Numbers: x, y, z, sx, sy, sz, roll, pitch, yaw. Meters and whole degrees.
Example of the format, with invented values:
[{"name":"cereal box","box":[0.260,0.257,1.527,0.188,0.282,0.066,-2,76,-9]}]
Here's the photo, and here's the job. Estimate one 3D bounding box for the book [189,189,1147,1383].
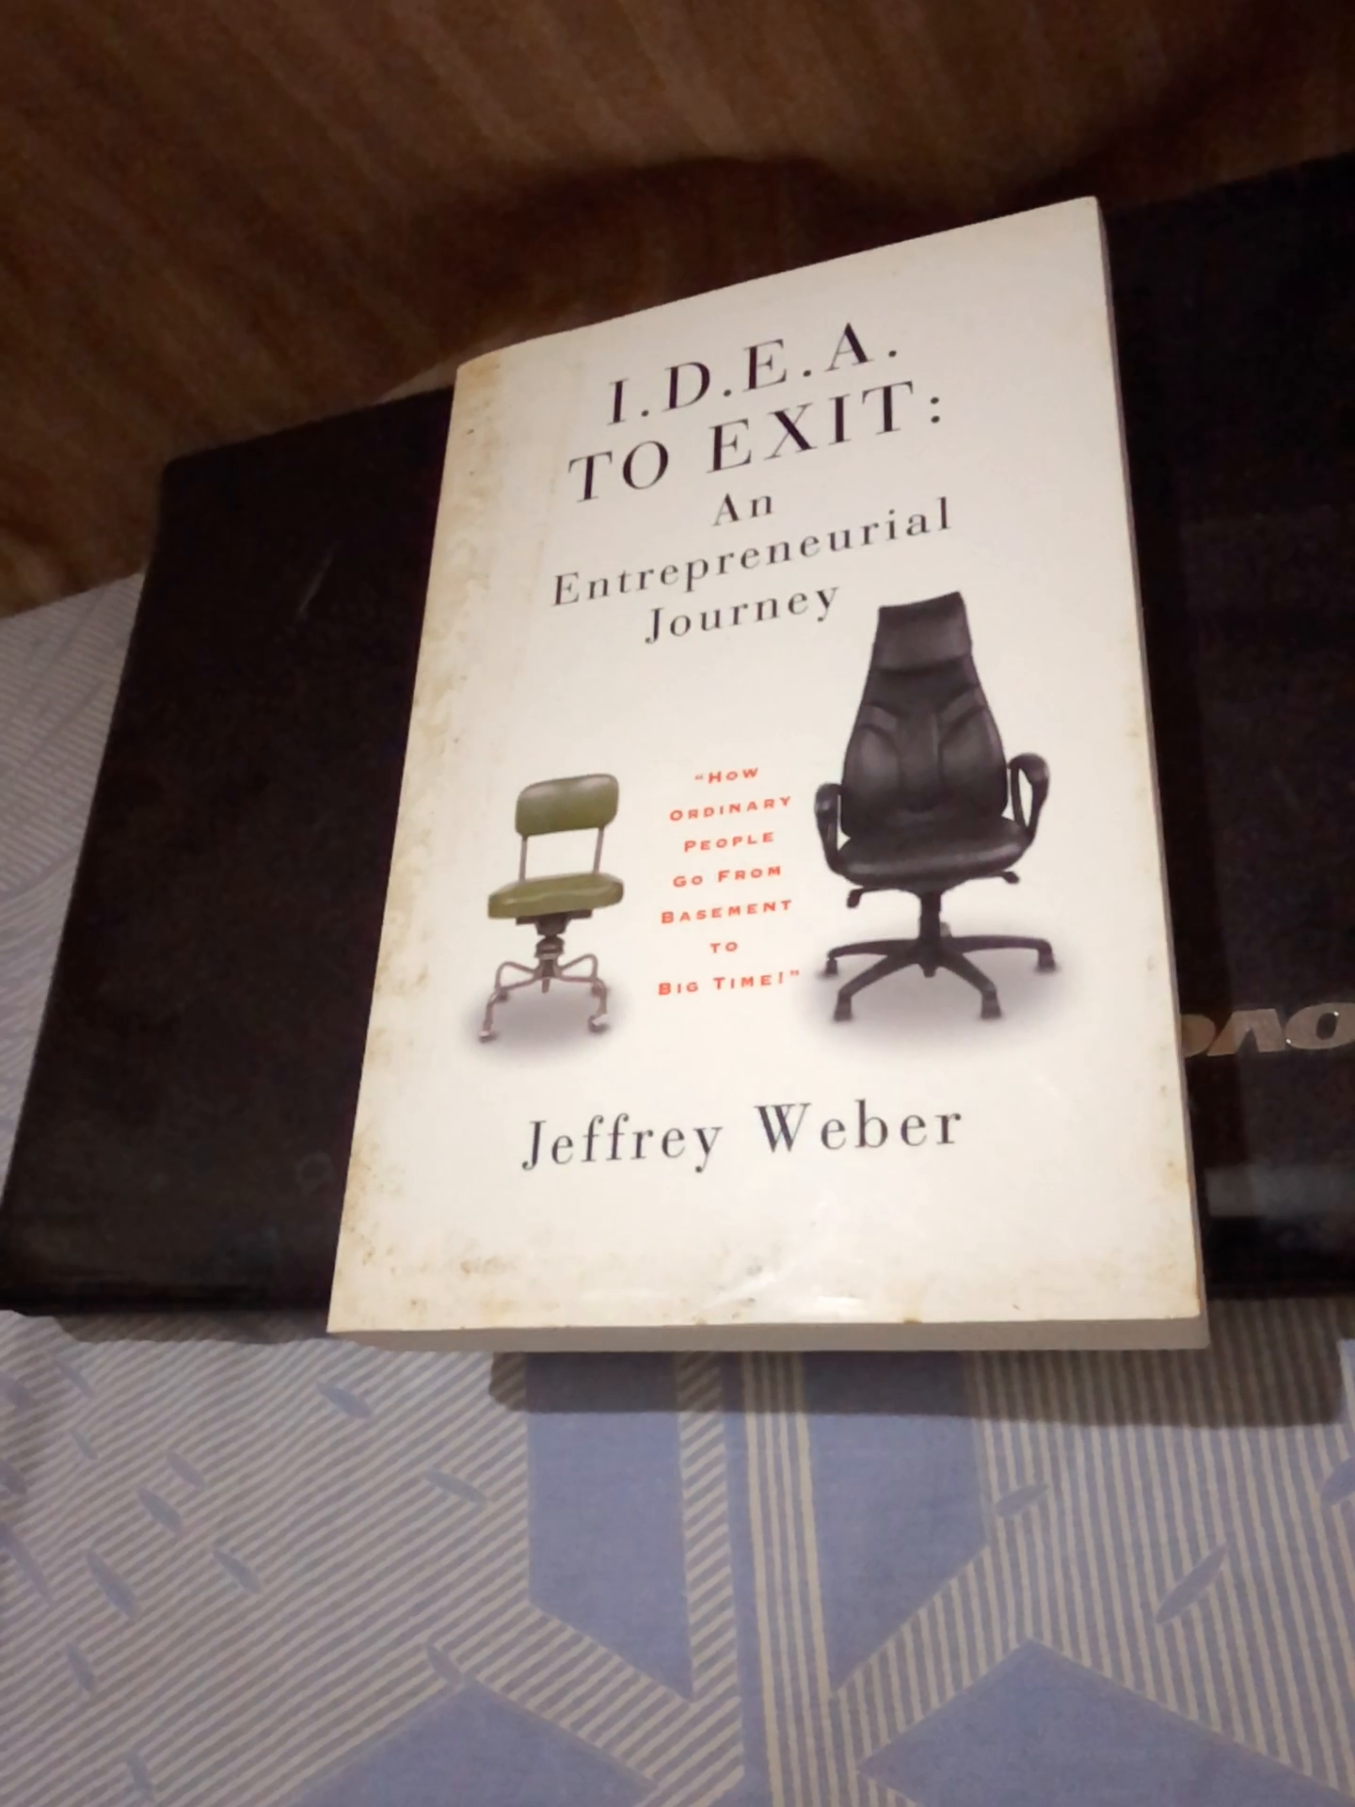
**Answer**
[{"name":"book","box":[0.000,-0.030,0.308,0.160,0.030,0.240,-7,60,20]}]
